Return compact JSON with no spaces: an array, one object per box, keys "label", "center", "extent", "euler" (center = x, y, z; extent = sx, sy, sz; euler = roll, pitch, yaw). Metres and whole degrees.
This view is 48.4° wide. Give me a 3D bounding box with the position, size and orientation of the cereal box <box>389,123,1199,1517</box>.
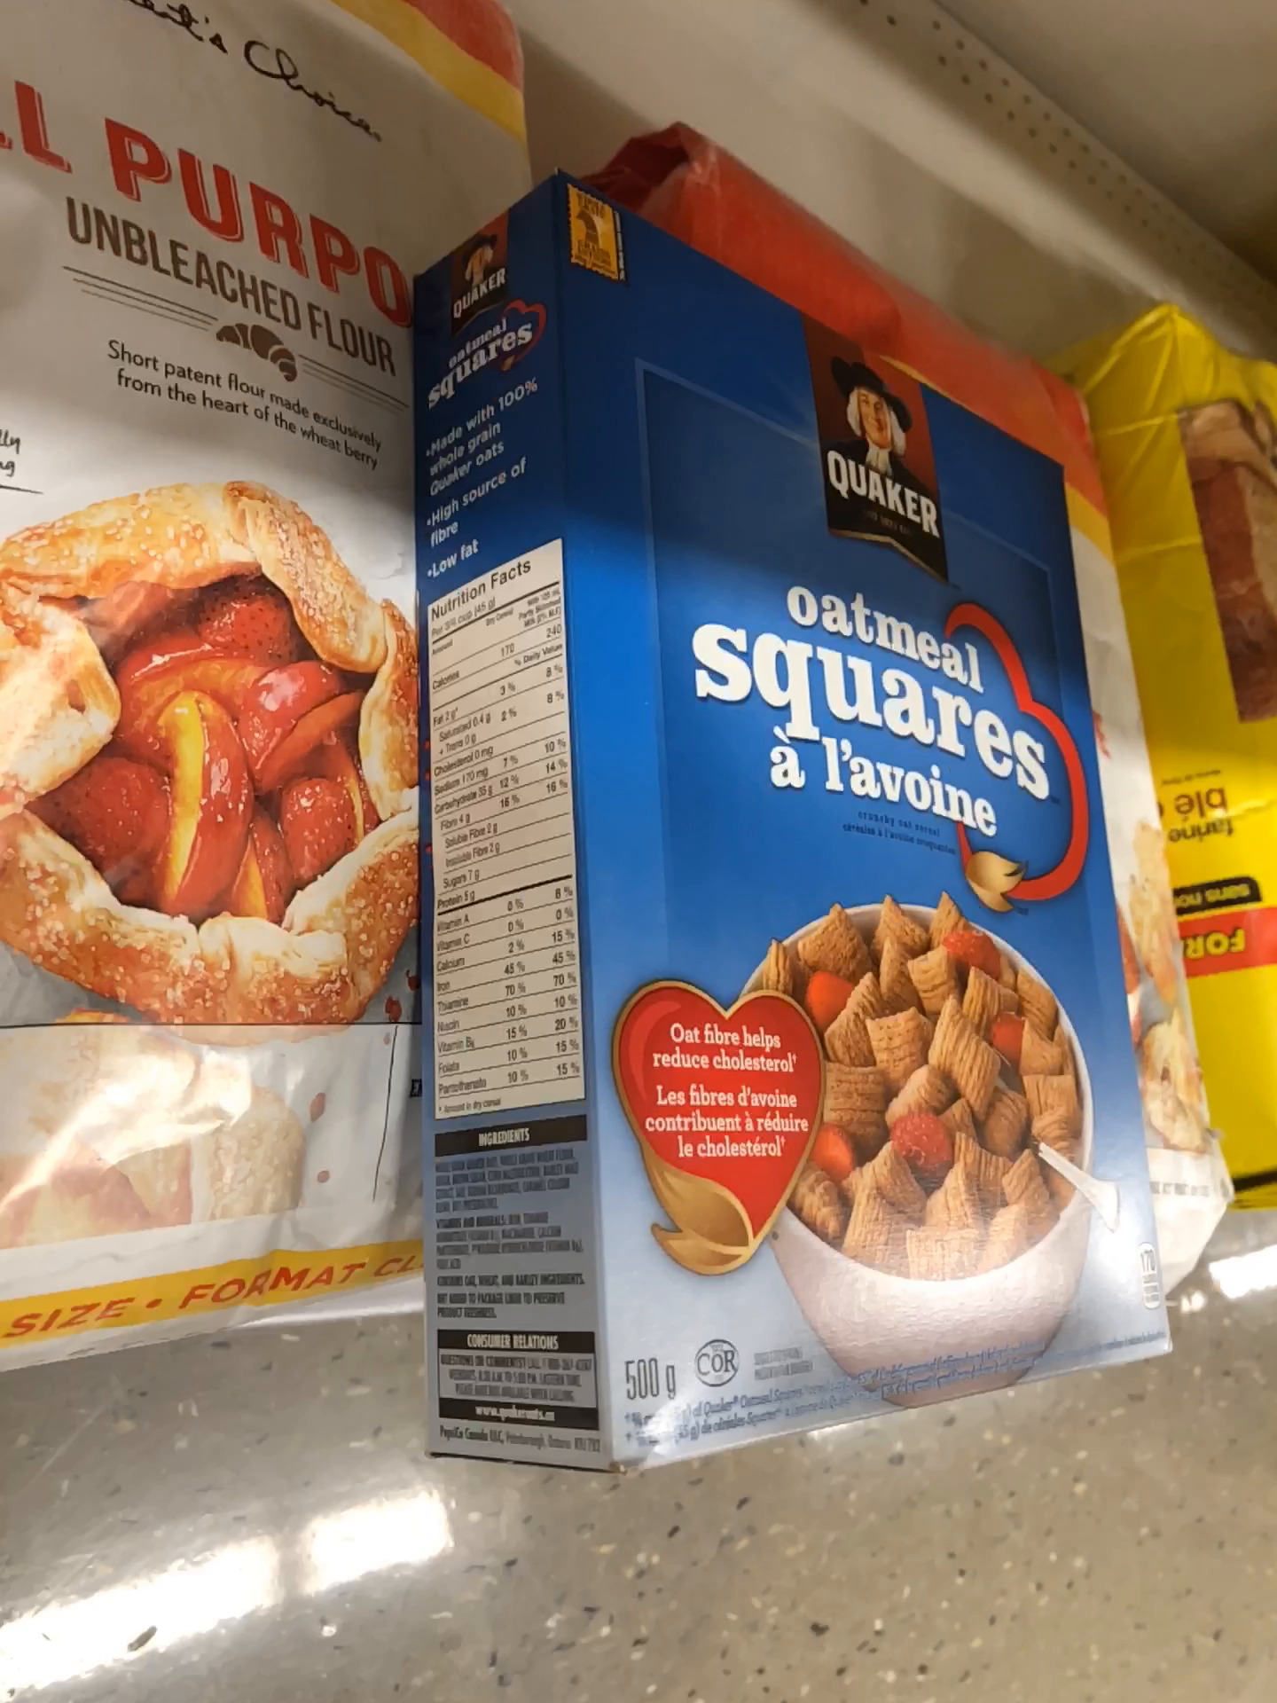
[{"label":"cereal box","center":[0.043,-0.002,0.363],"extent":[0.211,0.060,0.280],"euler":[12,68,-42]}]
